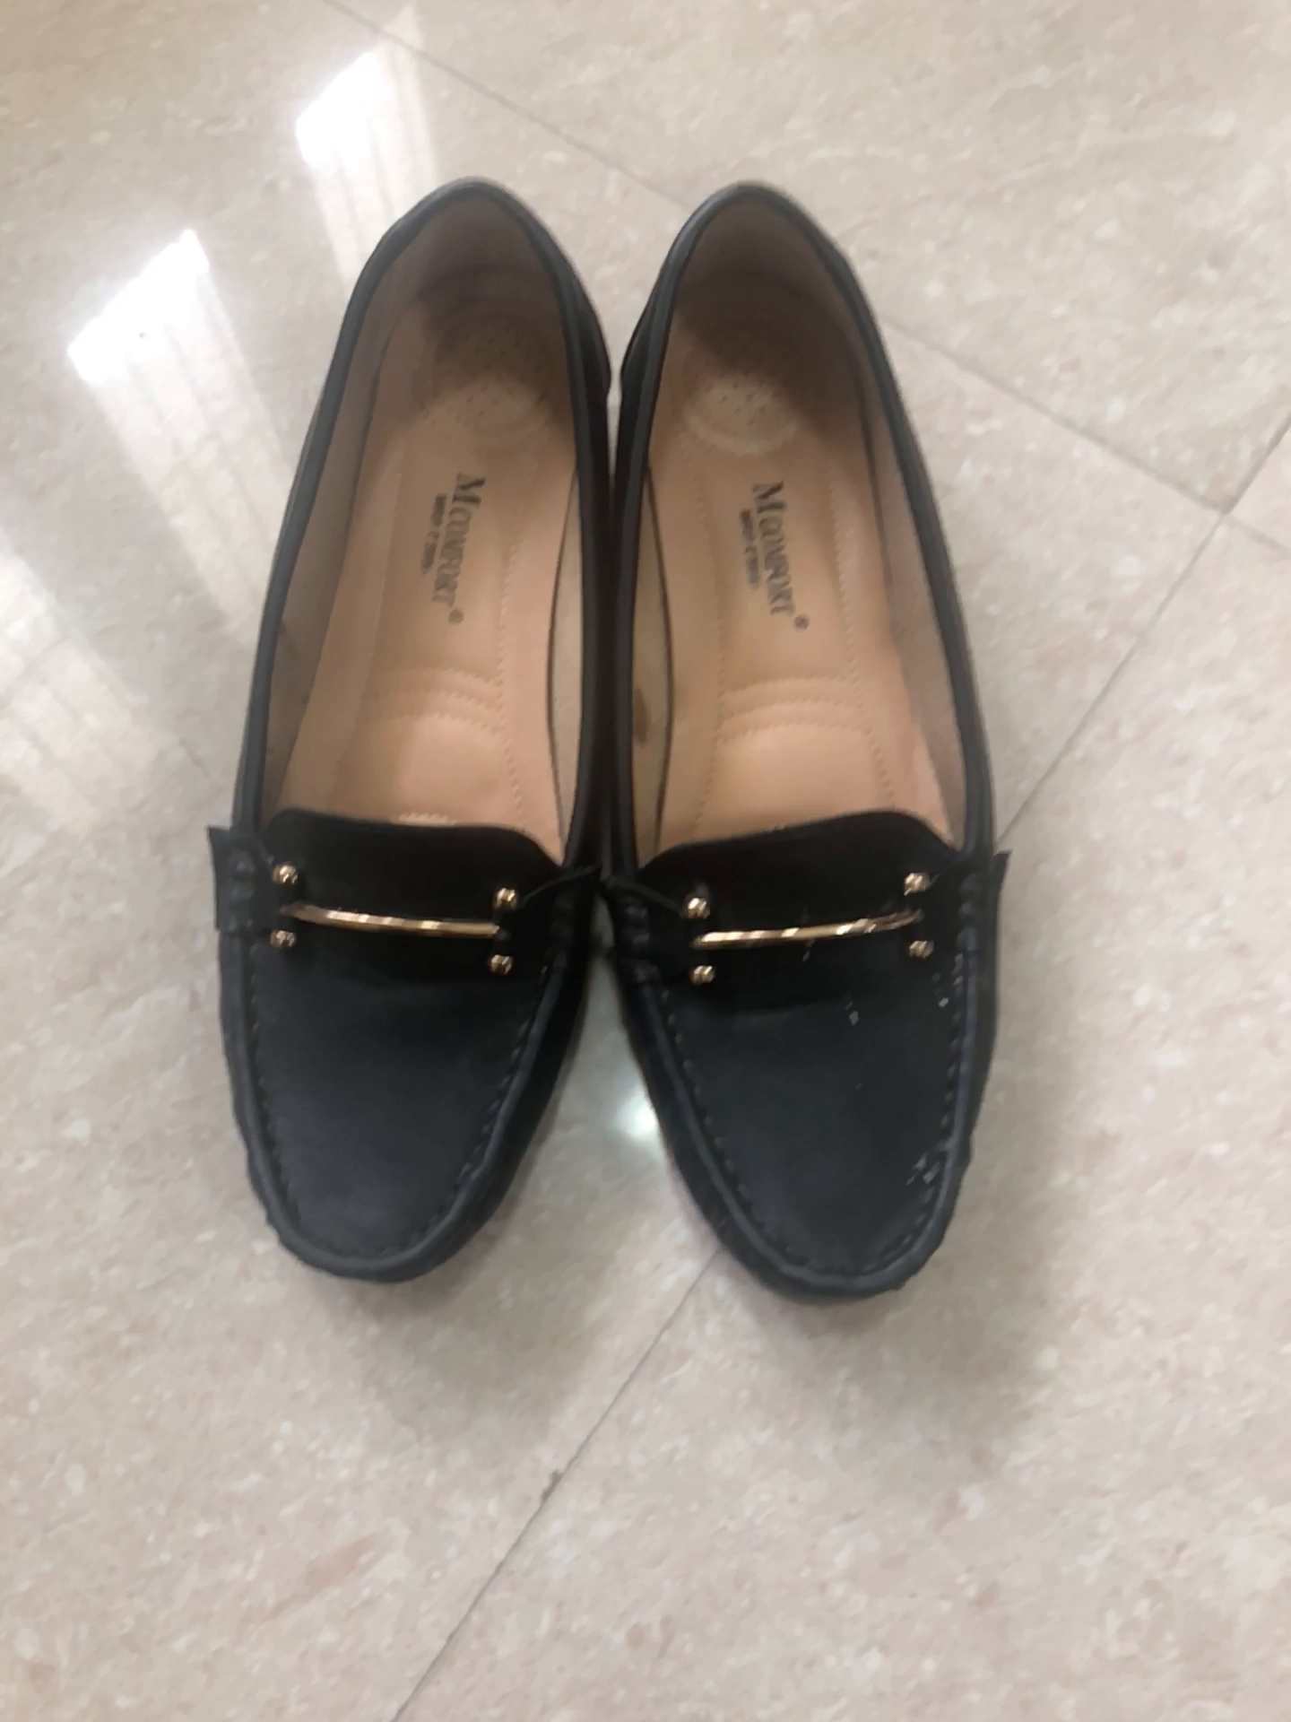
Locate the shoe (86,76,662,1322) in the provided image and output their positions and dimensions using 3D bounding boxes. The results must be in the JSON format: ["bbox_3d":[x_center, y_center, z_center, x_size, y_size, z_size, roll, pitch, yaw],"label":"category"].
[{"bbox_3d":[-0.053,-0.047,0.371,0.100,0.080,0.310,2,71,1],"label":"shoe"}]

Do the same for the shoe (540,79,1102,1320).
[{"bbox_3d":[0.032,-0.047,0.374,0.100,0.080,0.310,-4,71,-1],"label":"shoe"}]
